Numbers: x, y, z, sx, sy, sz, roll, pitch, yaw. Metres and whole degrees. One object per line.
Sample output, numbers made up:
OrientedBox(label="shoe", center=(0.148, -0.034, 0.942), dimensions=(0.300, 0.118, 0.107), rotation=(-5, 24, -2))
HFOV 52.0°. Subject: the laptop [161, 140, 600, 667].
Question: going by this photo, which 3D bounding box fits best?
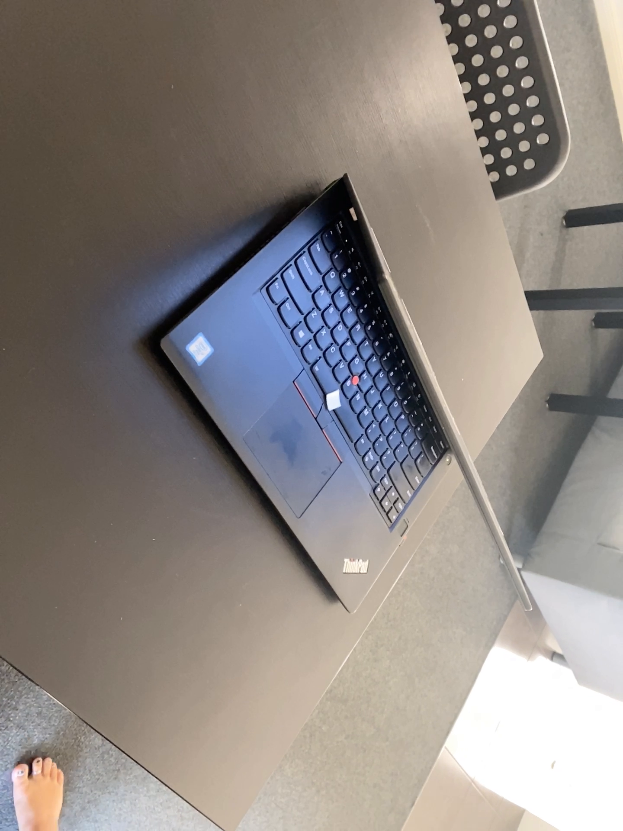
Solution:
OrientedBox(label="laptop", center=(0.081, -0.001, 0.489), dimensions=(0.216, 0.138, 0.300), rotation=(-51, 127, -27))
